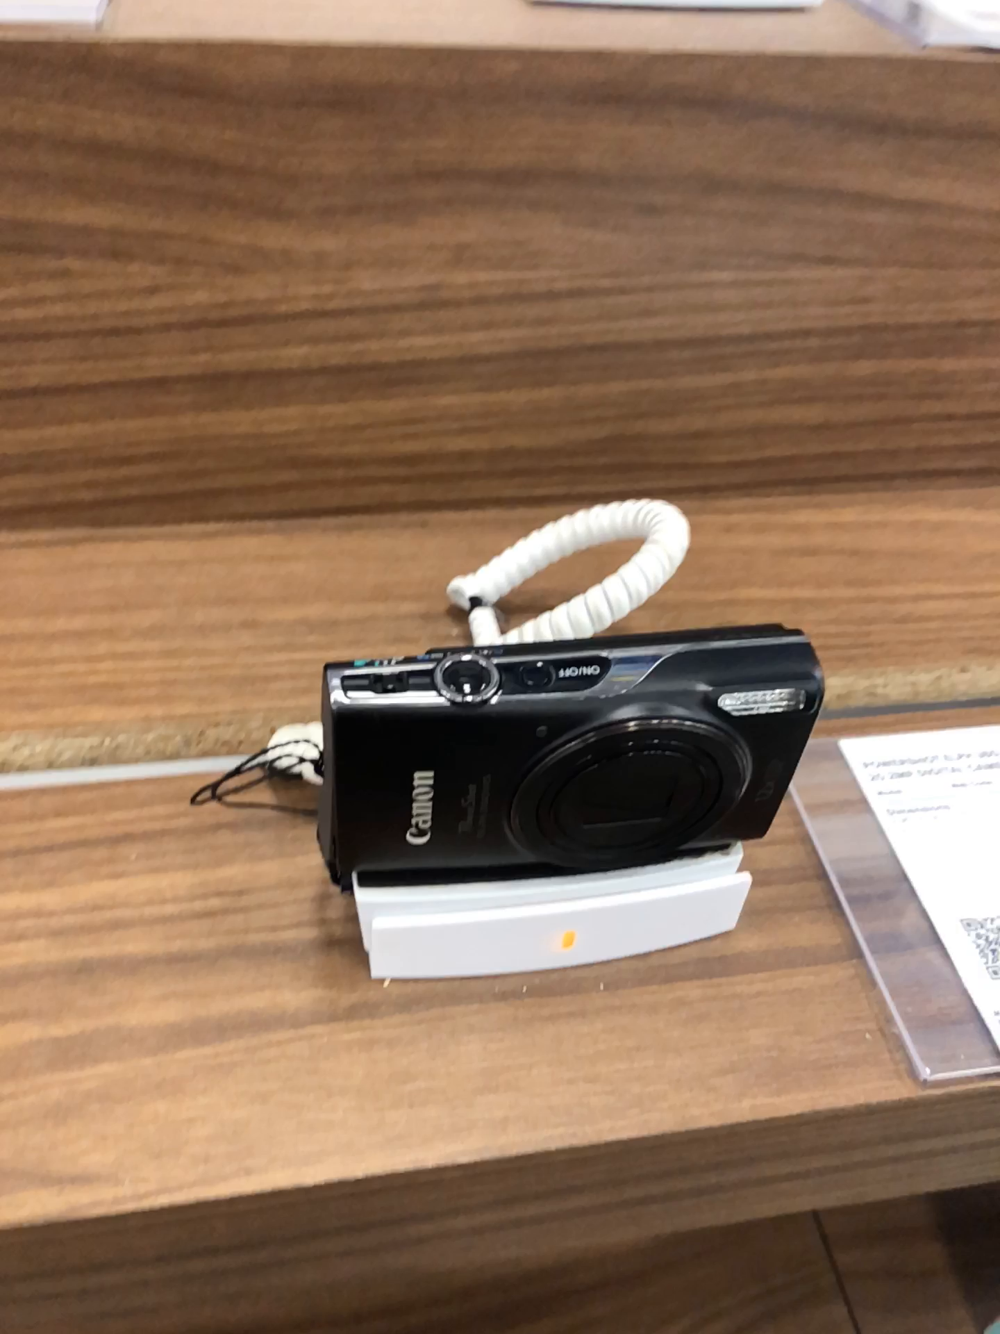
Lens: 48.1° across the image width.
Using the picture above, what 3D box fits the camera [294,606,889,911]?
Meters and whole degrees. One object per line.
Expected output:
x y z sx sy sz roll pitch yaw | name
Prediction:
0.015 0.019 0.230 0.110 0.060 0.020 -4 47 -11 | camera
